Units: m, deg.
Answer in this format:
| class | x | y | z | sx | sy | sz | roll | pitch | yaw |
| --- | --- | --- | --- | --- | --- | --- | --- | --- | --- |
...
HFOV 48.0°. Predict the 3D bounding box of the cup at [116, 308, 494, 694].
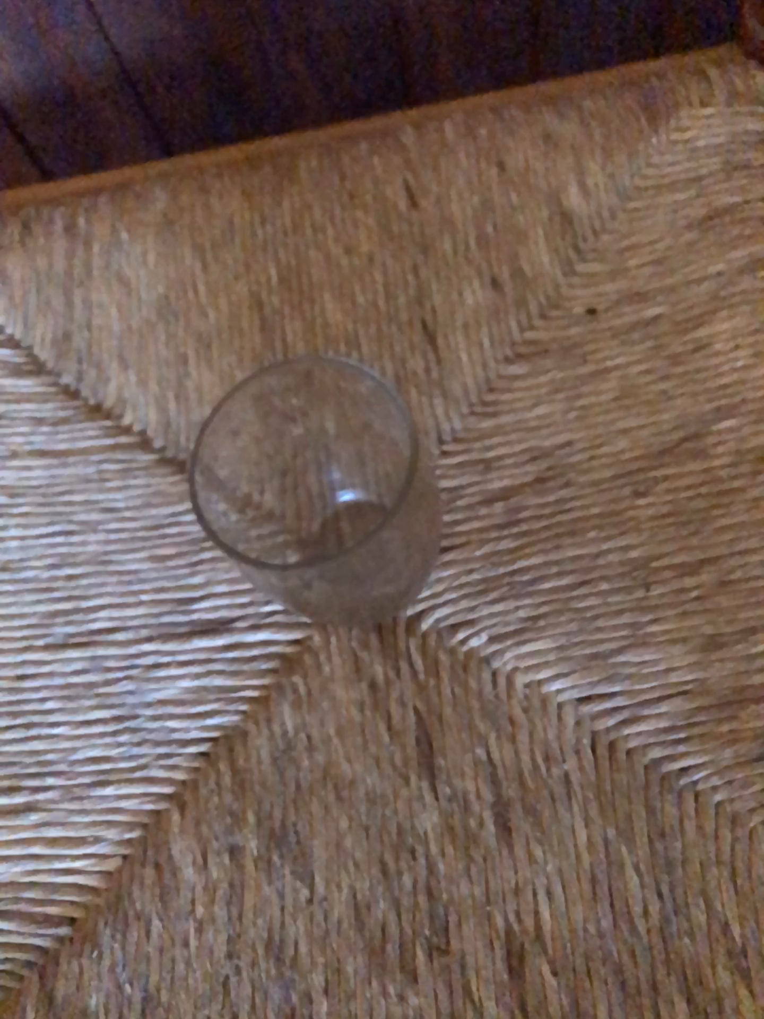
| class | x | y | z | sx | sy | sz | roll | pitch | yaw |
| --- | --- | --- | --- | --- | --- | --- | --- | --- | --- |
| cup | -0.014 | 0.001 | 0.250 | 0.070 | 0.080 | 0.070 | -4 | 67 | 9 |
